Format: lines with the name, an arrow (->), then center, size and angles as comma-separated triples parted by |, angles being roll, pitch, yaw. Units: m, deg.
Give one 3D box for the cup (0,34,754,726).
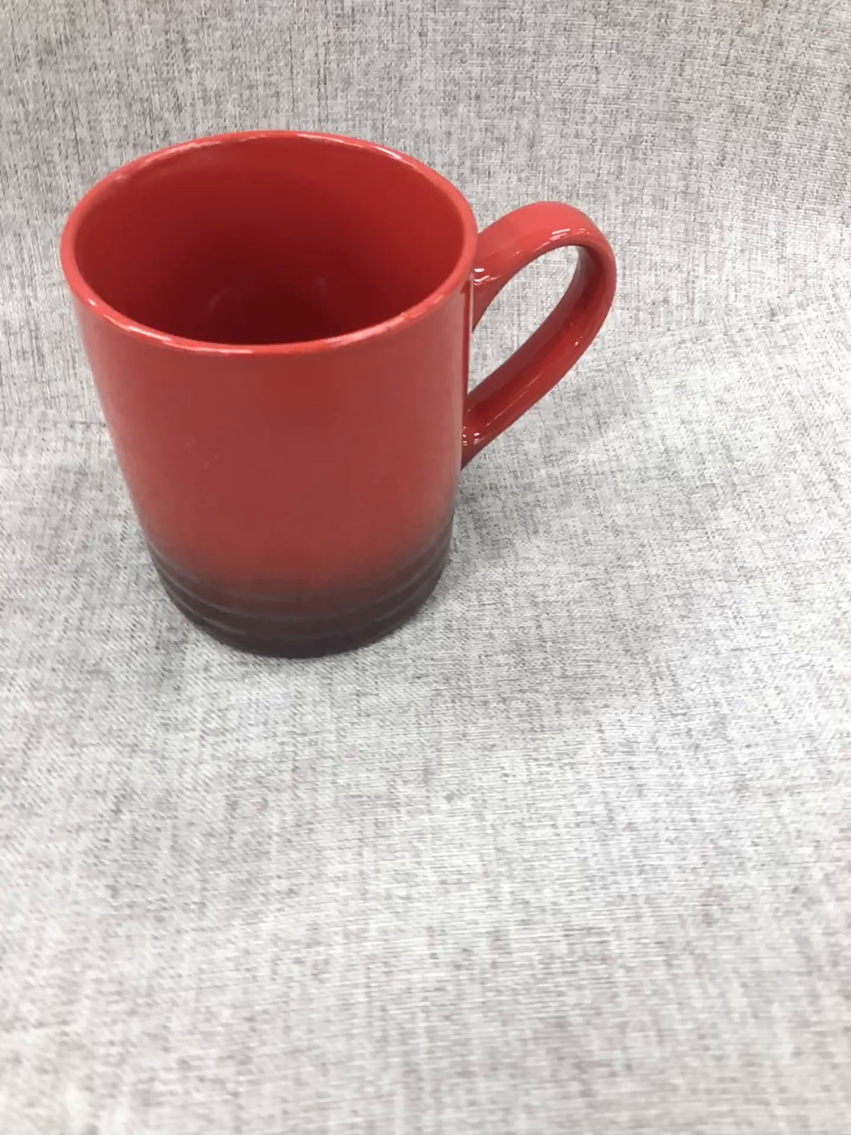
cup -> -0.015, -0.047, 0.228 | 0.140, 0.099, 0.080 | -22, 55, -17
